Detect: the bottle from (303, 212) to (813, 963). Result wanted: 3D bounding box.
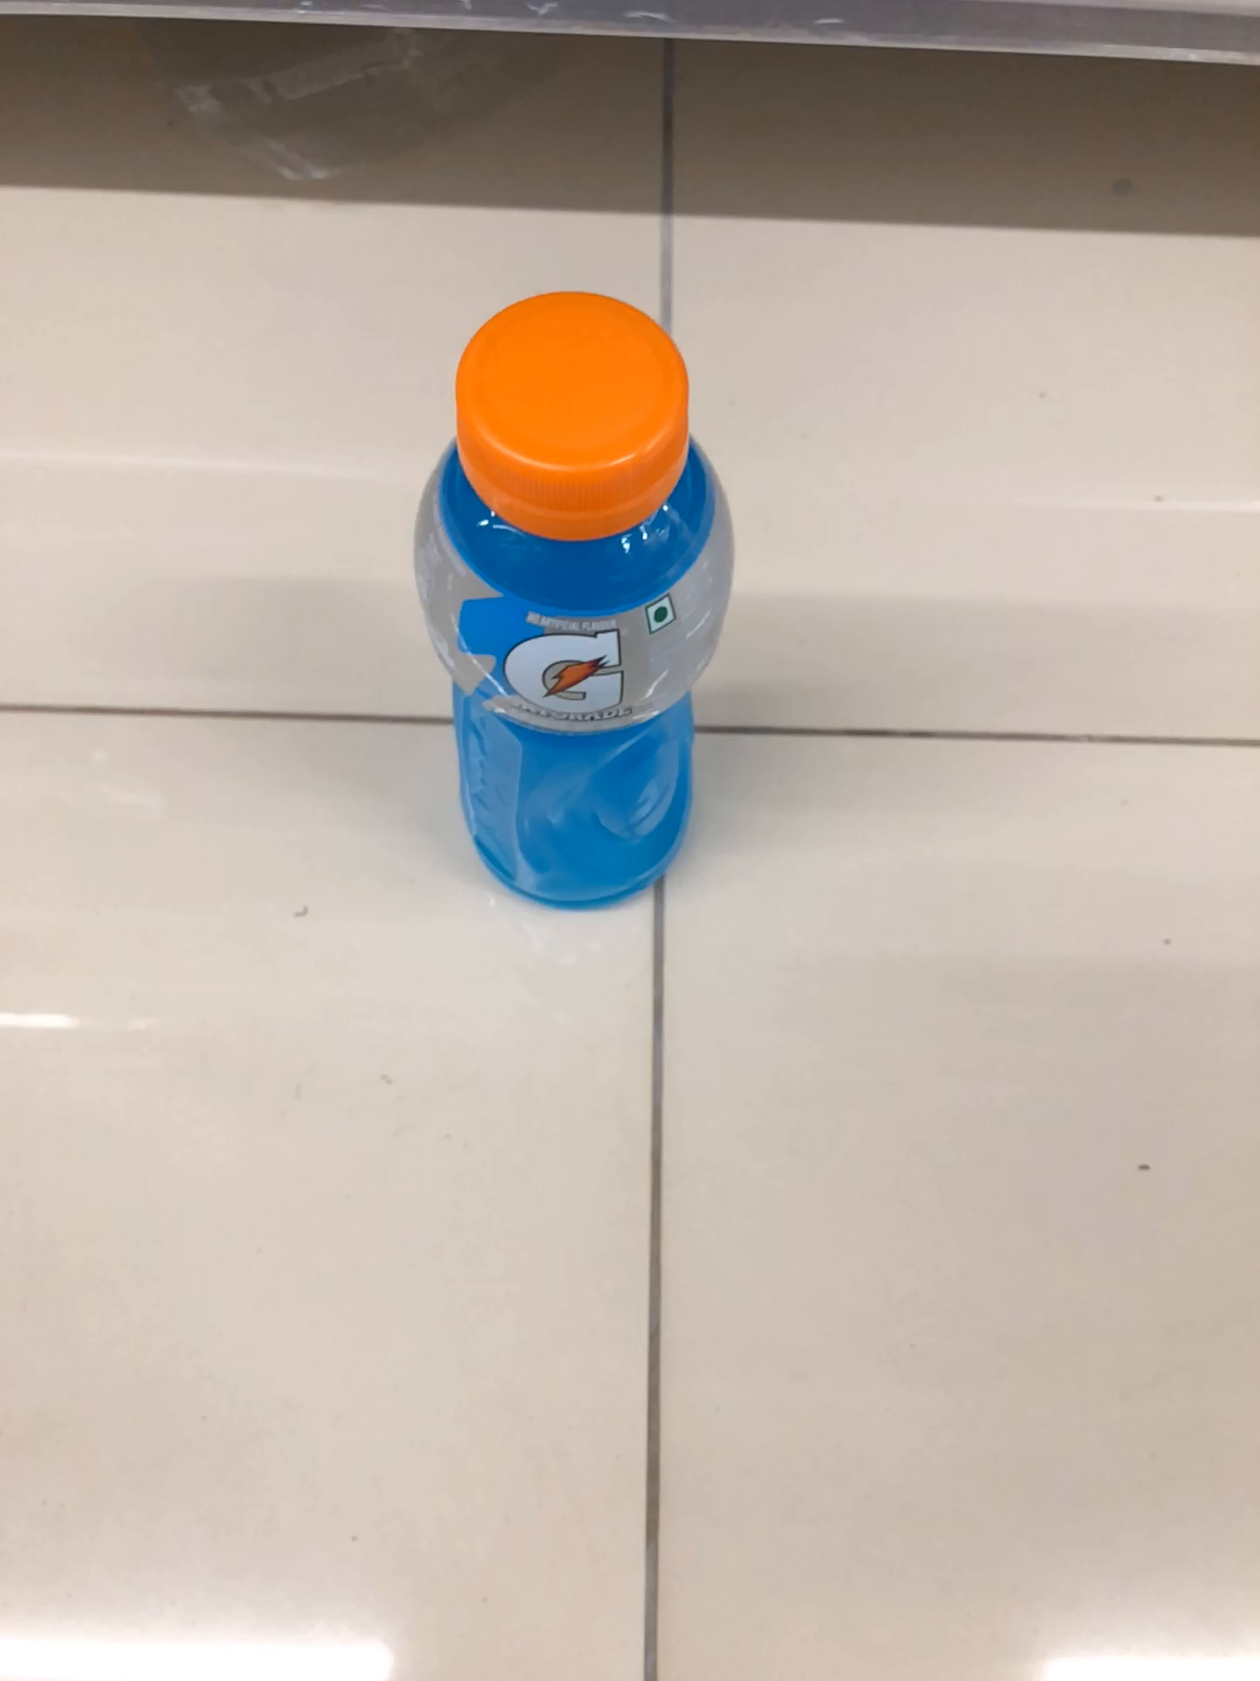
[{"bbox_3d":[-0.013,-0.039,0.324,0.070,0.189,0.070,1,69,-1],"label":"bottle"}]
